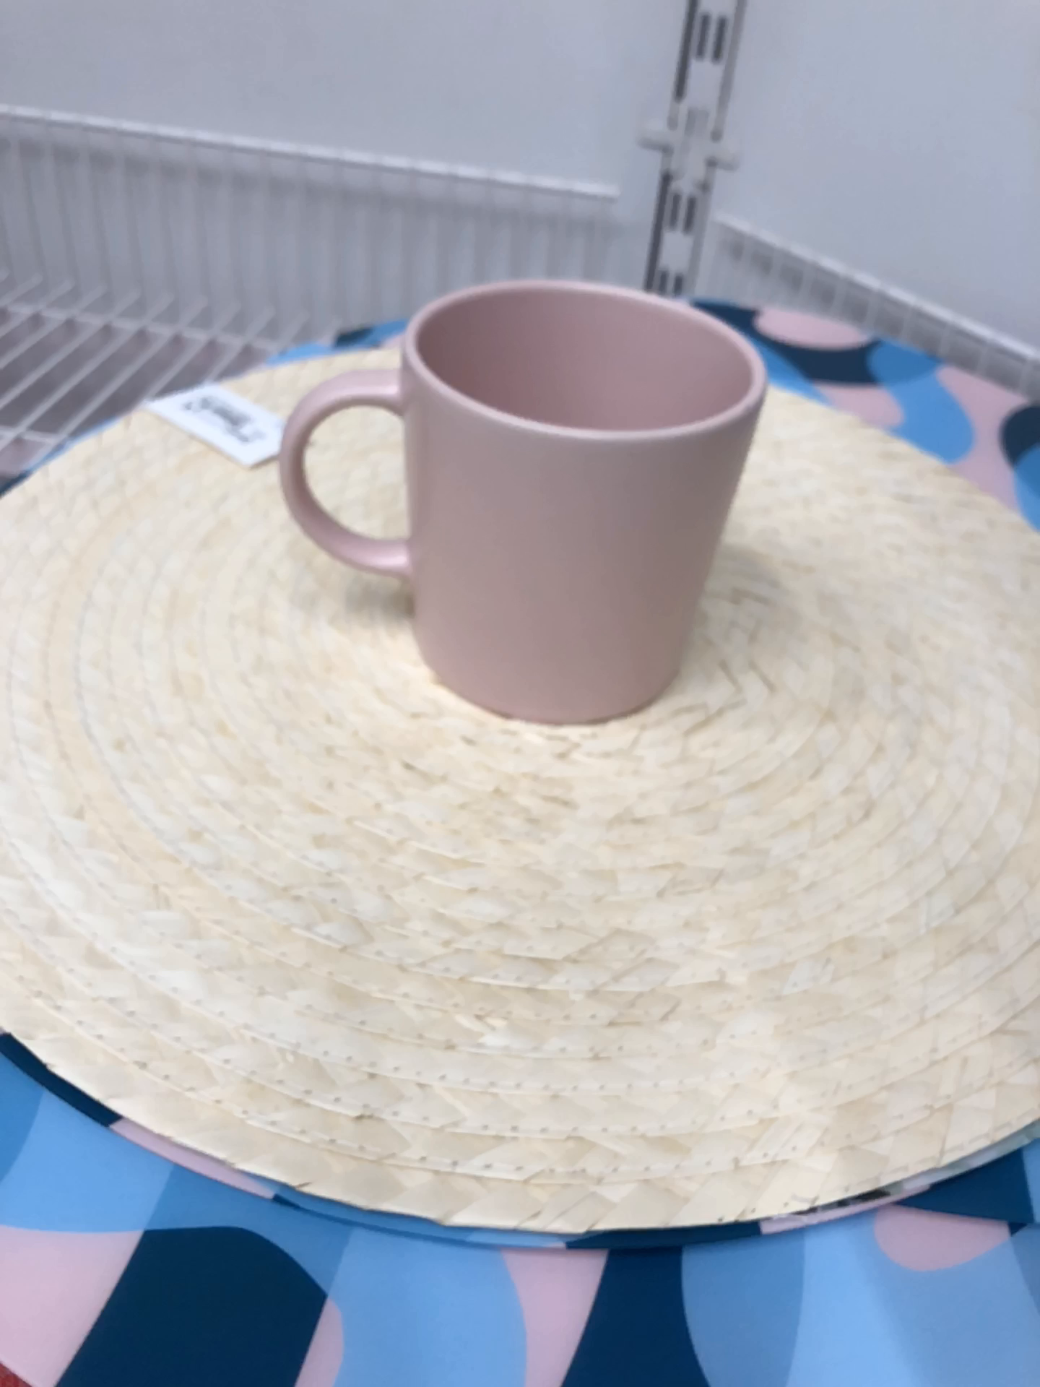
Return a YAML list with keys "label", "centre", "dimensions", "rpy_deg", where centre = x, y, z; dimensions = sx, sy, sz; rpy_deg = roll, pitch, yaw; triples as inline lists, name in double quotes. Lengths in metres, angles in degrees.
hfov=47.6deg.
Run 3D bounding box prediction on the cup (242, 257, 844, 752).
- label: "cup"
  centre: [-0.003, -0.052, 0.316]
  dimensions: [0.130, 0.090, 0.100]
  rpy_deg: [-1, 38, -10]
